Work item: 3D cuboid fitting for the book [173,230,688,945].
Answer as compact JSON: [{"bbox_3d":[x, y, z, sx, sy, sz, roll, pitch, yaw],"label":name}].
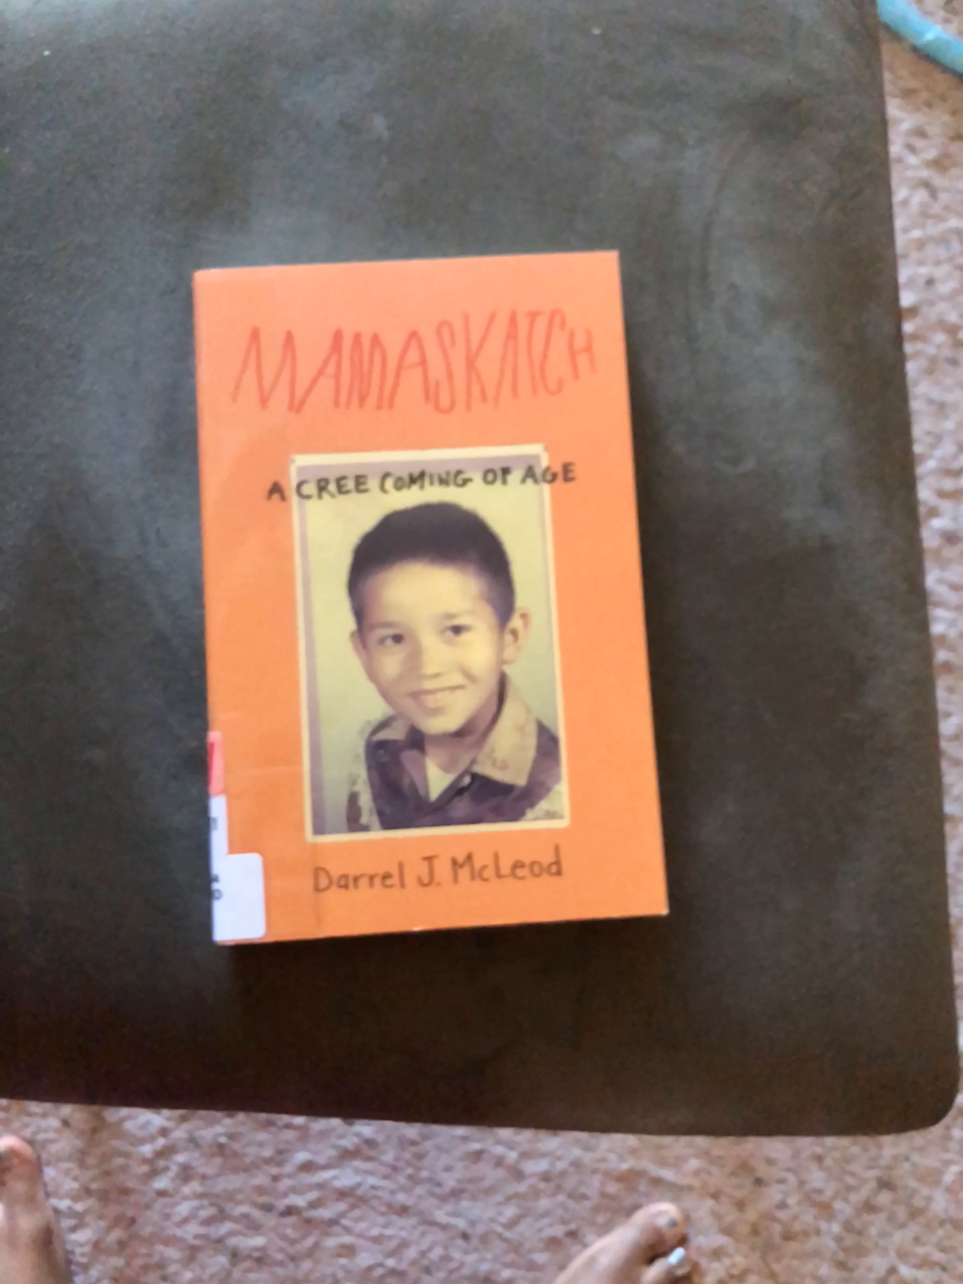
[{"bbox_3d":[-0.018,-0.019,0.359,0.150,0.040,0.218,-3,86,-1],"label":"book"}]
